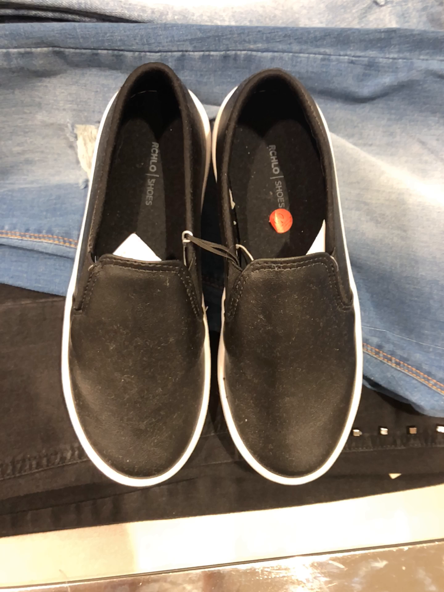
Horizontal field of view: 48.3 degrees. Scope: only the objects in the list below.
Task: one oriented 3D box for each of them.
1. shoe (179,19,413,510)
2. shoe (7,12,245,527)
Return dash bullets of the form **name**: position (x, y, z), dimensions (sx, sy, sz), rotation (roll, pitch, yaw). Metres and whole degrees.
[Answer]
- **shoe**: position (0.038, -0.019, 0.320), dimensions (0.110, 0.100, 0.260), rotation (-5, 91, -6)
- **shoe**: position (-0.052, -0.012, 0.305), dimensions (0.110, 0.100, 0.260), rotation (3, 91, -4)
